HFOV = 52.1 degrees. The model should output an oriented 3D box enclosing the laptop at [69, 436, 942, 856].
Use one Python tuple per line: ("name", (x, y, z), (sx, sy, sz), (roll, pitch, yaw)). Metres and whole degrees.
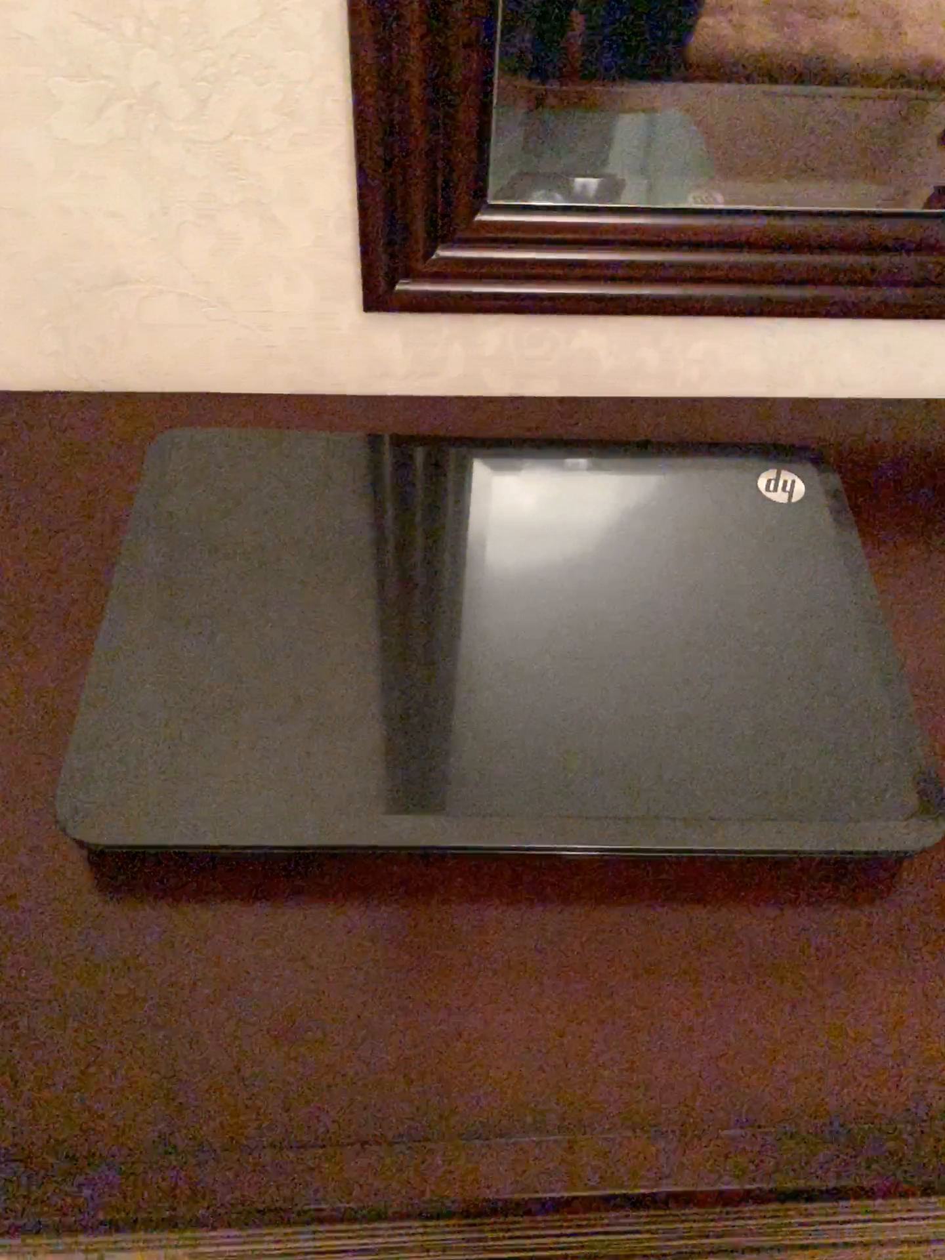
("laptop", (0.018, -0.004, 0.444), (0.341, 0.007, 0.224), (1, 53, -6))
